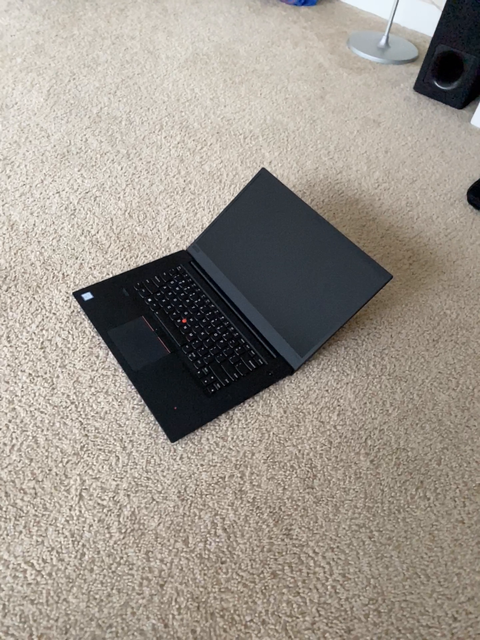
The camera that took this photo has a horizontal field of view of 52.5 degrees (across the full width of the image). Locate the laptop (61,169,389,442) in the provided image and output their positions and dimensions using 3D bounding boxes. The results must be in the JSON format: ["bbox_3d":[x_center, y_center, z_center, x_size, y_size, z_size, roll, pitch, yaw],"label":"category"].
[{"bbox_3d":[-0.029,-0.061,0.881,0.433,0.142,0.361,-26,58,-26],"label":"laptop"}]
